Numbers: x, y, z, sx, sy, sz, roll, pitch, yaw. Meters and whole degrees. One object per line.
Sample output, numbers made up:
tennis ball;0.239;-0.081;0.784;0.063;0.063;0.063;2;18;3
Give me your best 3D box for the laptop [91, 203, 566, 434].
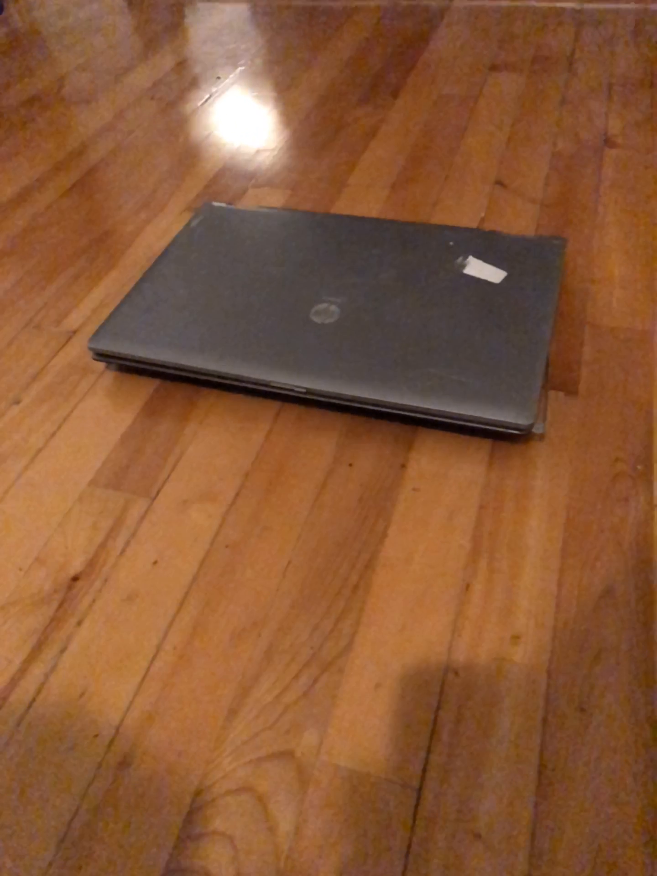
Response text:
laptop;0.009;-0.125;0.643;0.363;0.010;0.241;11;50;15
